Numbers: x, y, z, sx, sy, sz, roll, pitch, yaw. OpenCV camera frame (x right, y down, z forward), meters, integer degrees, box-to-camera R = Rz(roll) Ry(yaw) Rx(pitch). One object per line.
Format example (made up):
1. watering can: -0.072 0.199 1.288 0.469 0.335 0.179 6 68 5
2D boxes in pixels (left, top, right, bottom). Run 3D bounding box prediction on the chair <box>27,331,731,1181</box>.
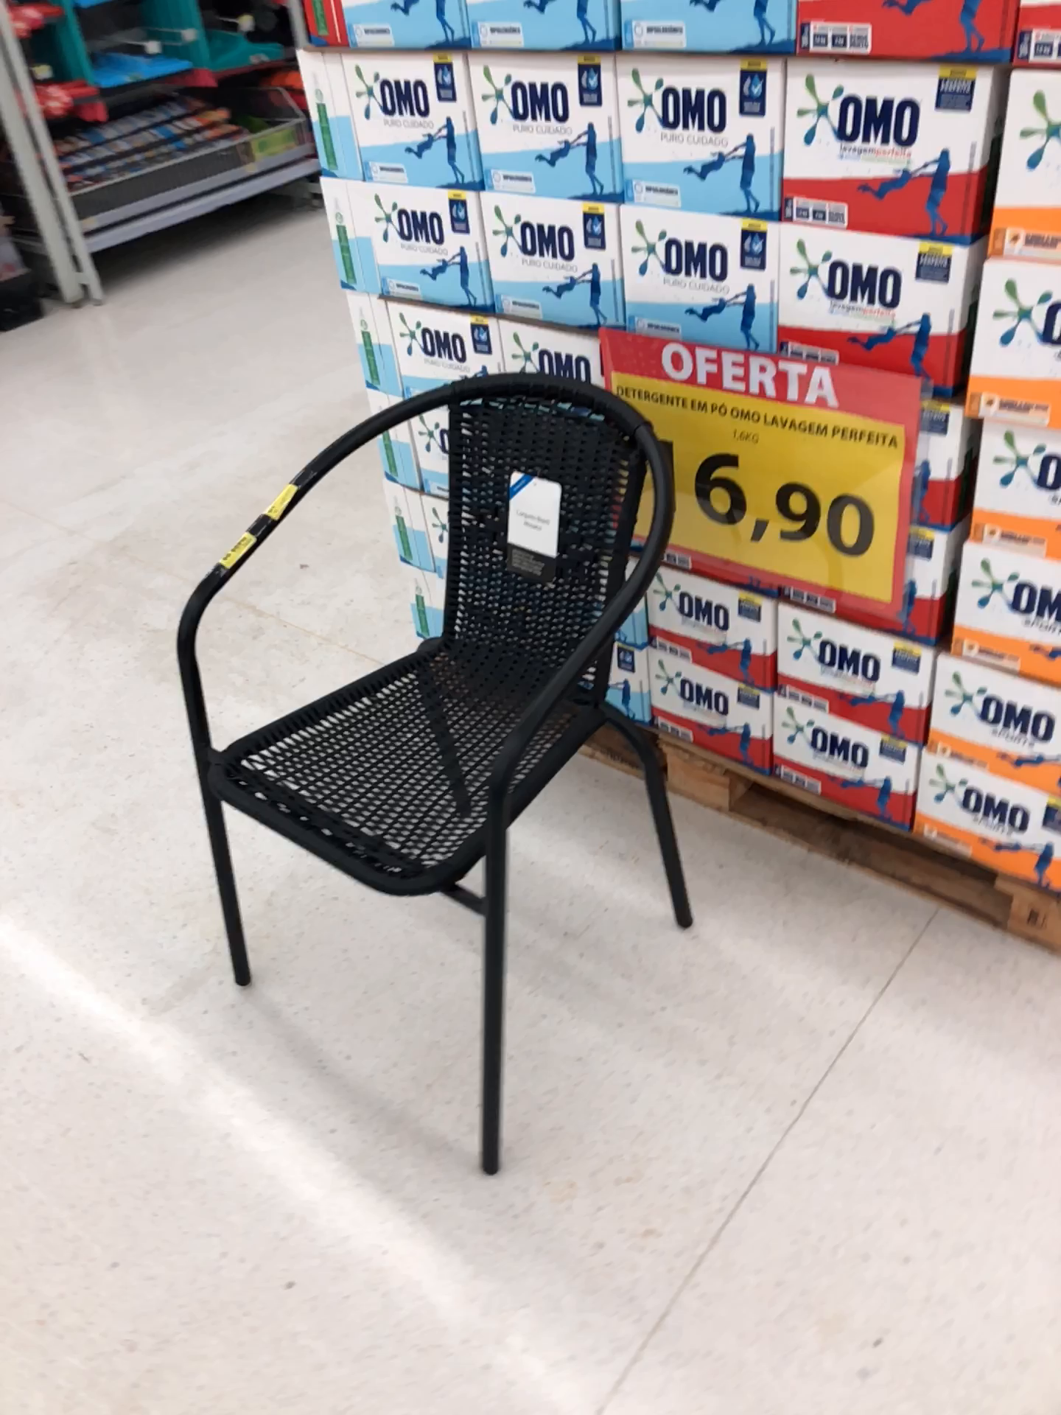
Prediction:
1. chair: -0.112 0.033 1.376 0.502 0.725 0.502 23 46 34
